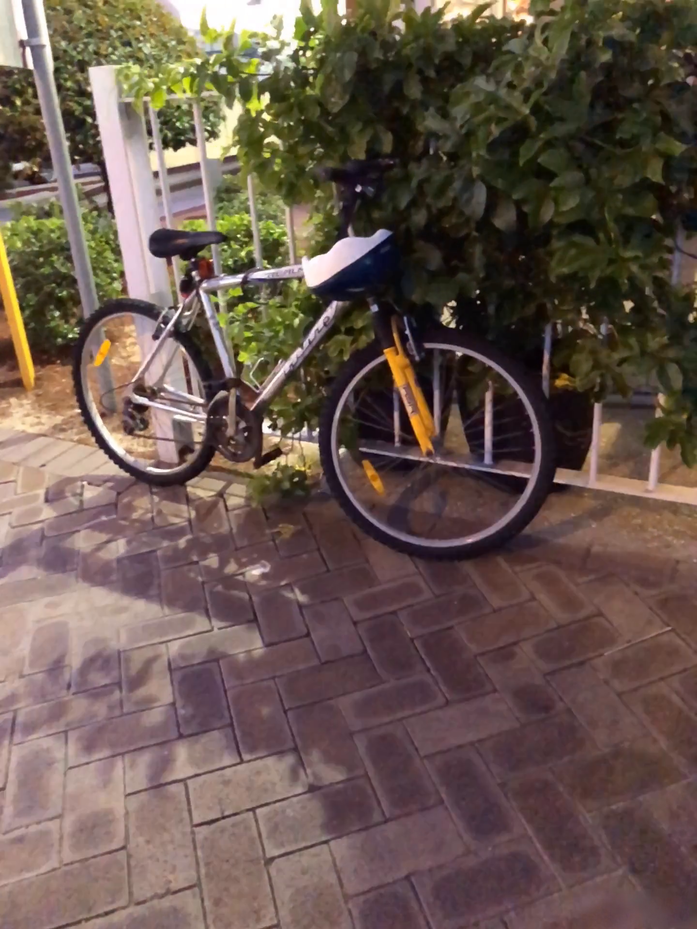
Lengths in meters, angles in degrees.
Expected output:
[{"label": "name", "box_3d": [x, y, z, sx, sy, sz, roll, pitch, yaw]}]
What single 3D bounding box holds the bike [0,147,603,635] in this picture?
[{"label": "bike", "box_3d": [-0.238, -0.306, 2.158, 1.694, 0.995, 0.554, 10, 28, 28]}]
